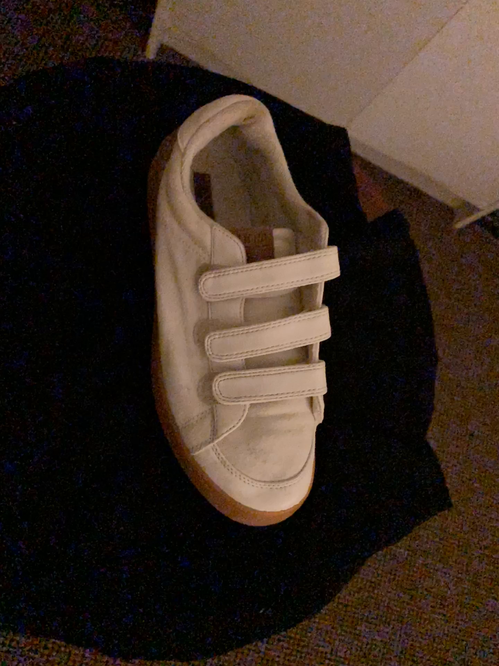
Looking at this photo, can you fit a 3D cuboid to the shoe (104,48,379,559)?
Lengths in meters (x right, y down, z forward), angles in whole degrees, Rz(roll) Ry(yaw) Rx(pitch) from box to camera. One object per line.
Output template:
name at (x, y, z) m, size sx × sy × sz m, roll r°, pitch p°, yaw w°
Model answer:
shoe at (-0.014, -0.021, 0.303) m, size 0.096 × 0.080 × 0.254 m, roll -7°, pitch 81°, yaw -22°
